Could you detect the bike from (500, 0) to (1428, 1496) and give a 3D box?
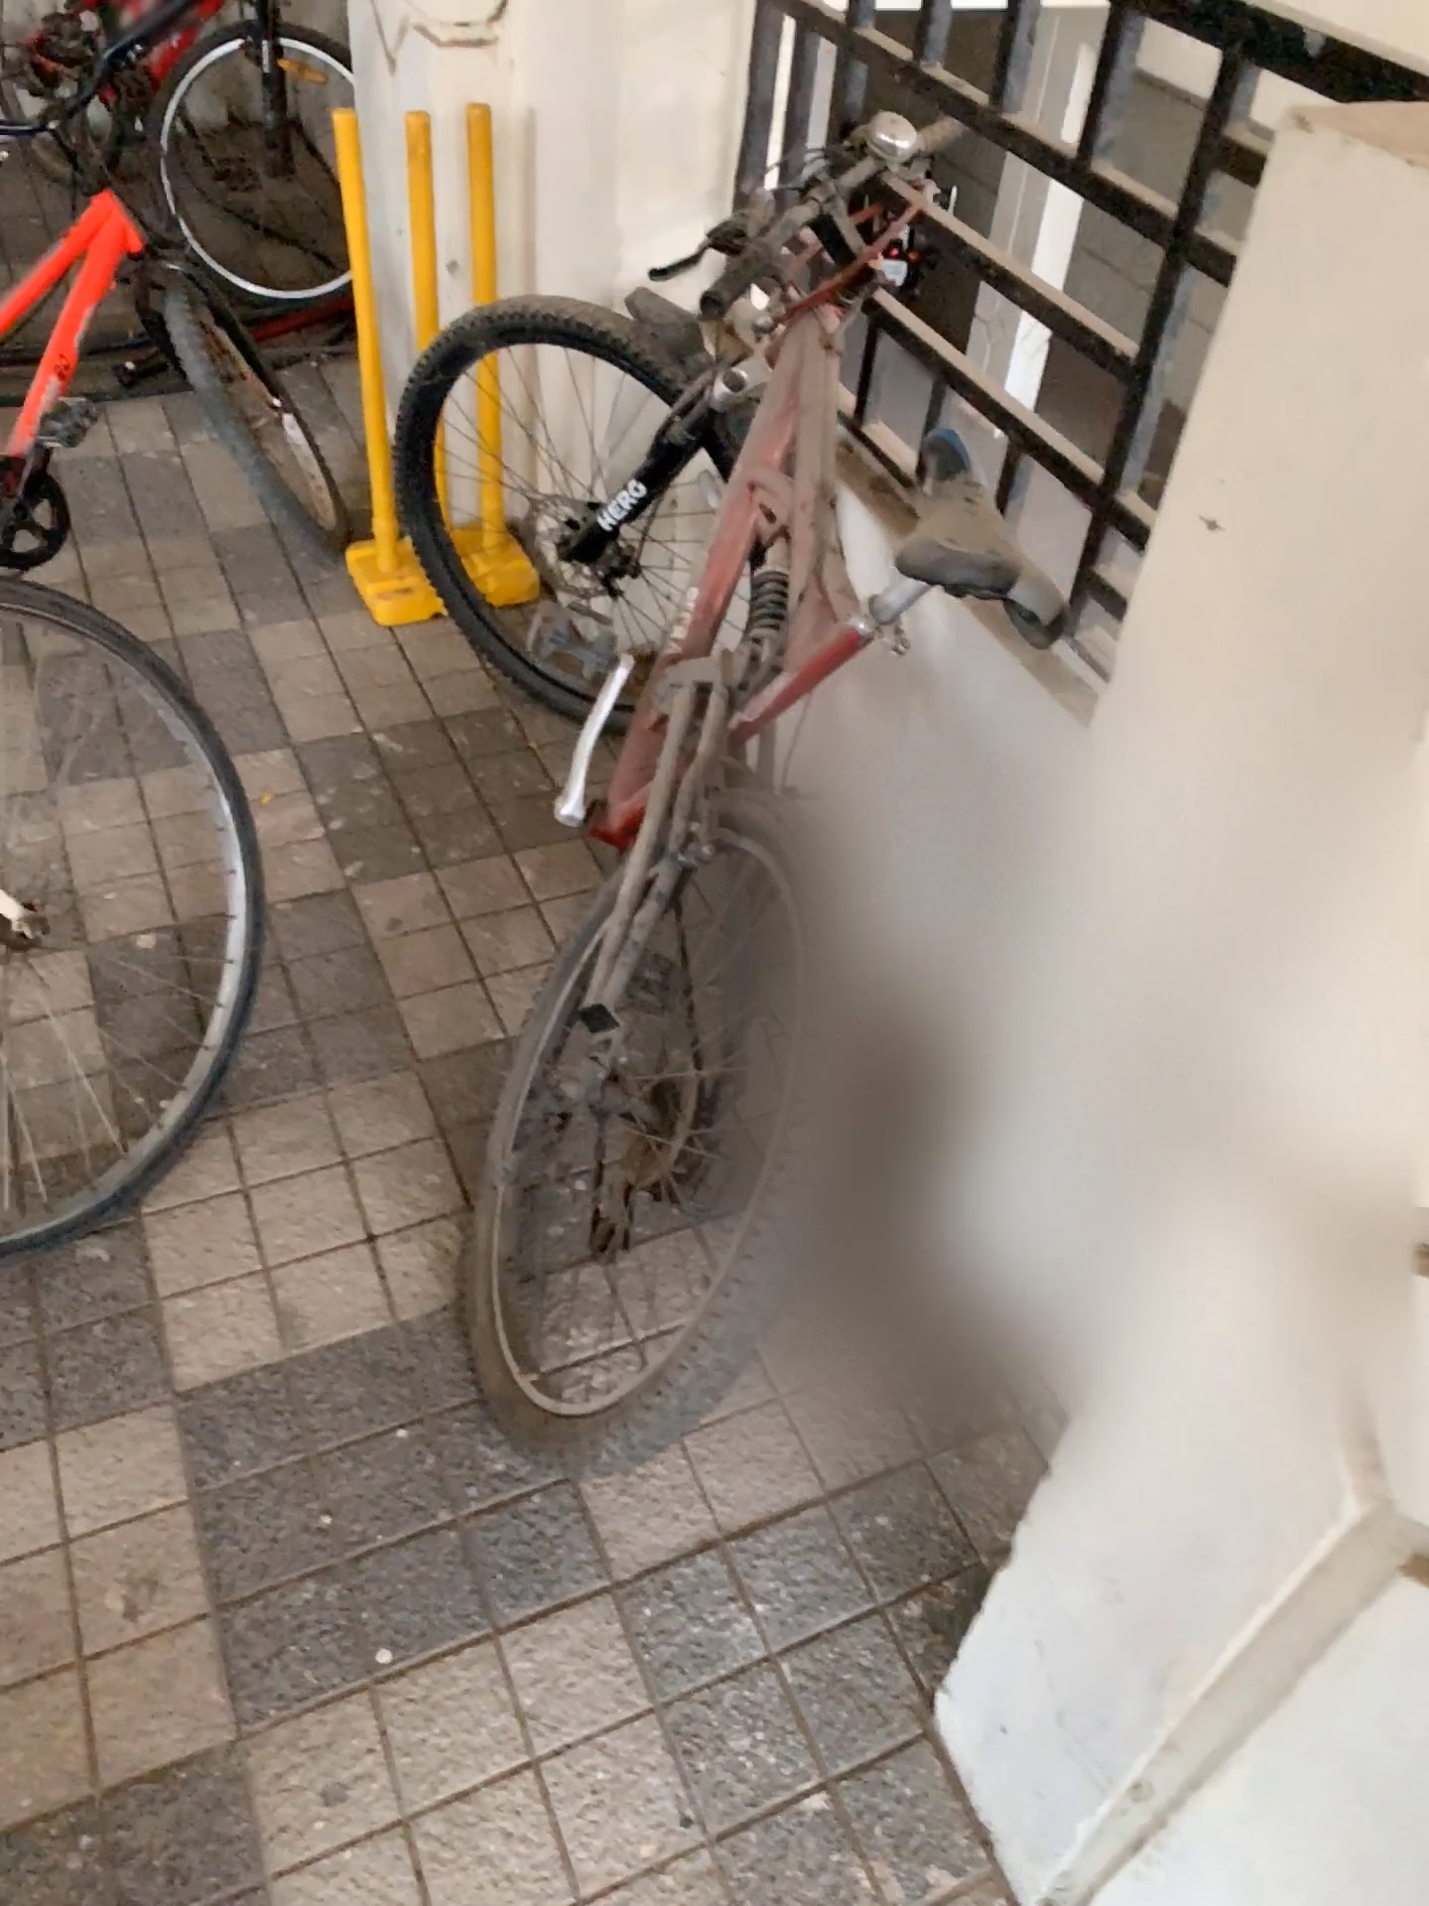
[{"bbox_3d":[0.173,-0.417,1.556,0.608,0.831,1.470,-6,53,-13],"label":"bike"}]
